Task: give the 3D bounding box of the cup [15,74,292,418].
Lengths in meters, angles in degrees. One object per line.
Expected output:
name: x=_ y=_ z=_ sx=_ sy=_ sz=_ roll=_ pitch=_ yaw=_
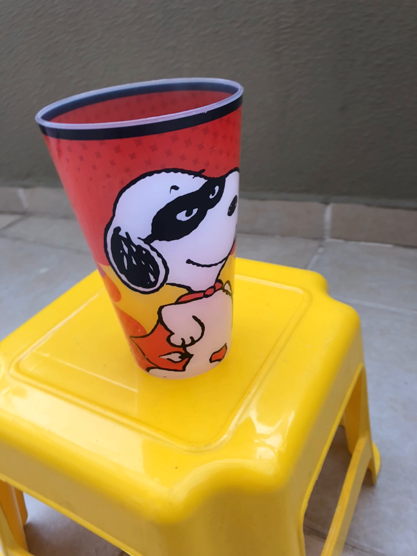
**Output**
cup: x=-0.028 y=-0.027 z=0.264 sx=0.100 sy=0.139 sz=0.111 roll=-20 pitch=33 yaw=-20
